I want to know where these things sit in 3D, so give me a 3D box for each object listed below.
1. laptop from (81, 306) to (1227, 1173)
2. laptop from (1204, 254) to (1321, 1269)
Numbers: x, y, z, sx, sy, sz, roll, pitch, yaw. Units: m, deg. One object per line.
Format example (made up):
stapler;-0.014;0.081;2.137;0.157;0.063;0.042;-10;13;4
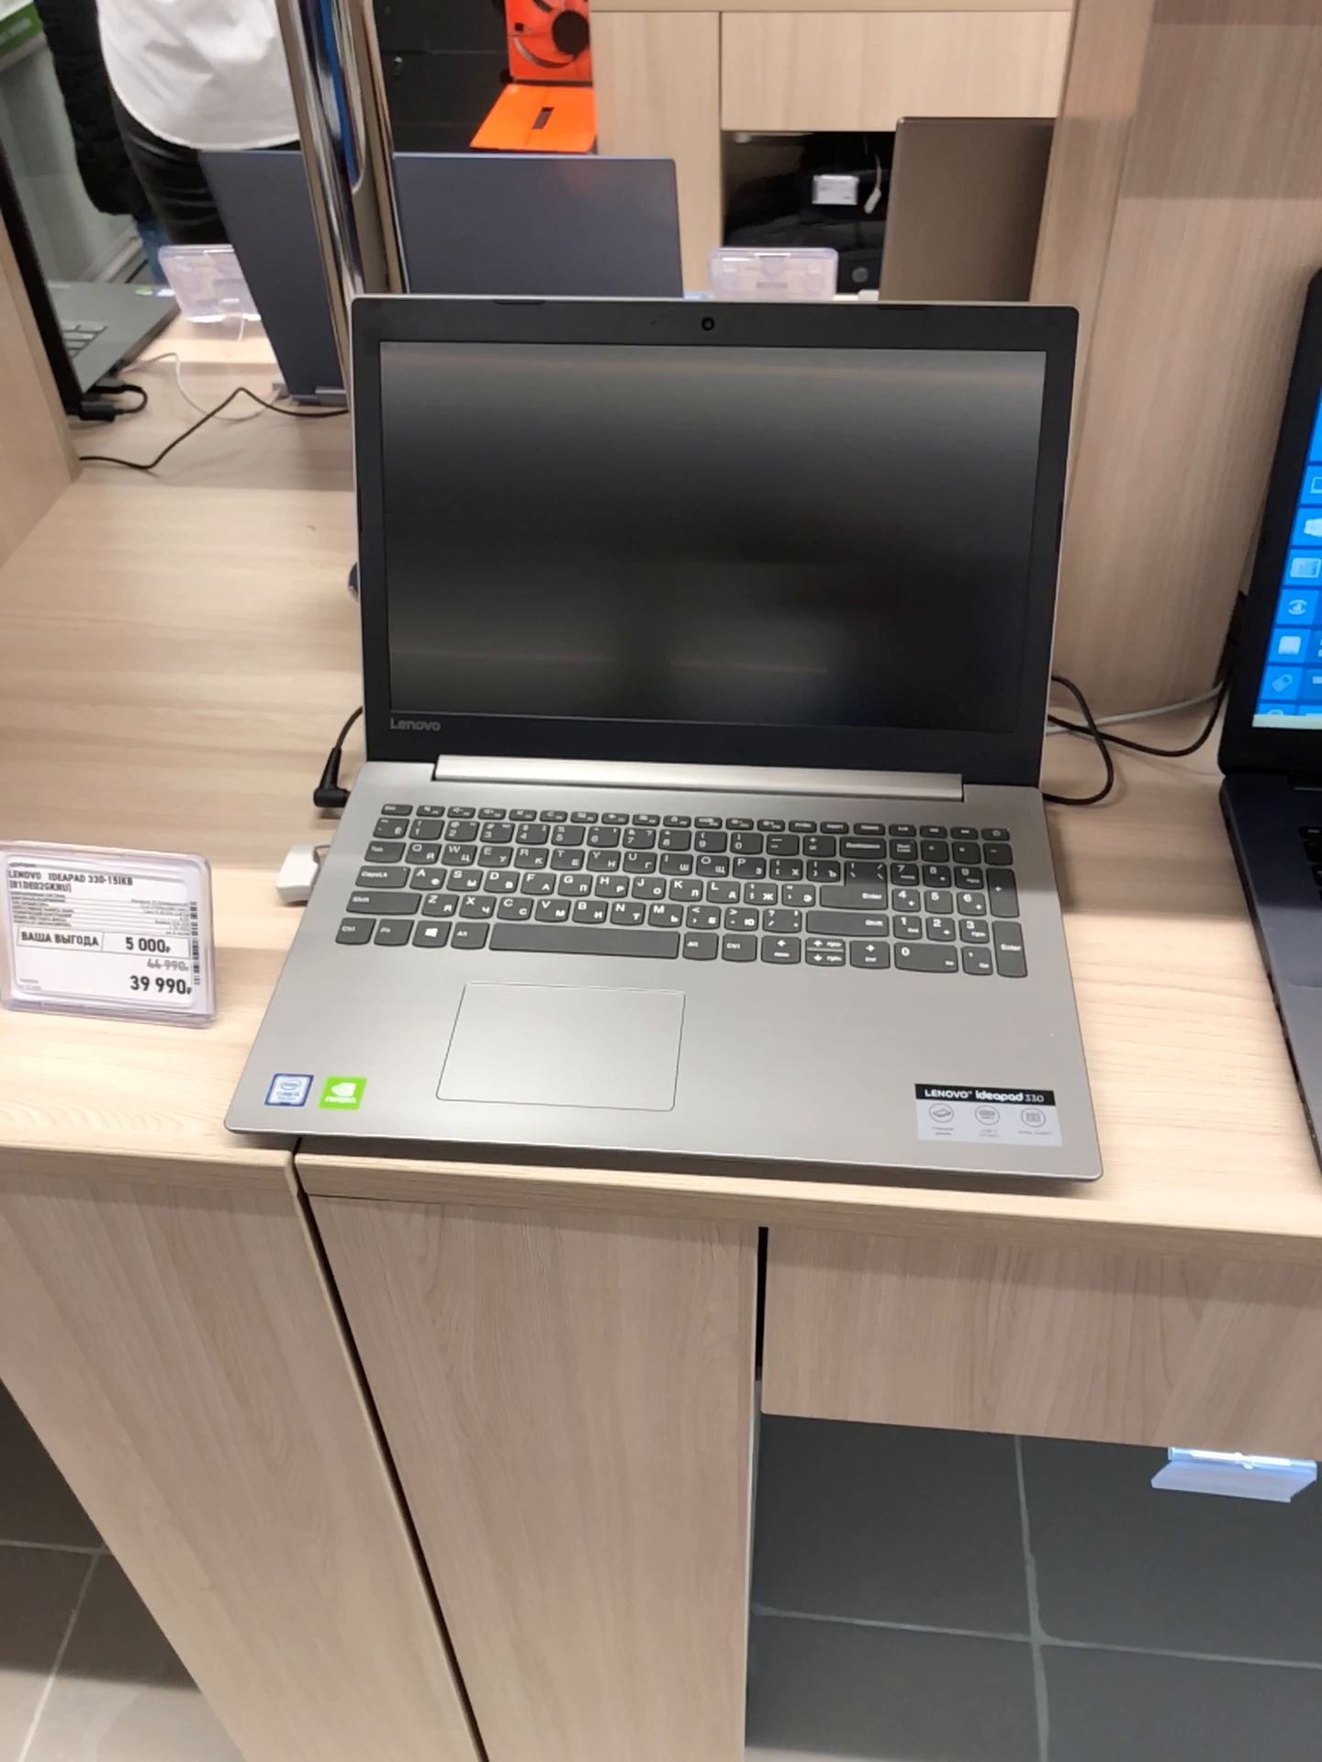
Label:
laptop;0.013;-0.090;0.670;0.370;0.208;0.367;2;42;6
laptop;0.496;-0.072;0.609;0.403;0.246;0.335;3;43;6
